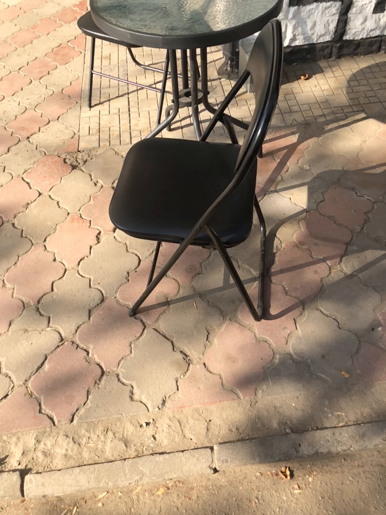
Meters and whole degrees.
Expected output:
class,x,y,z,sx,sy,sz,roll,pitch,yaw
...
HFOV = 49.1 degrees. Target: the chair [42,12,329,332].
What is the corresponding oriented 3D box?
class,x,y,z,sx,sy,sz,roll,pitch,yaw
chair,0.021,-0.208,1.142,0.500,0.638,0.532,4,52,6
